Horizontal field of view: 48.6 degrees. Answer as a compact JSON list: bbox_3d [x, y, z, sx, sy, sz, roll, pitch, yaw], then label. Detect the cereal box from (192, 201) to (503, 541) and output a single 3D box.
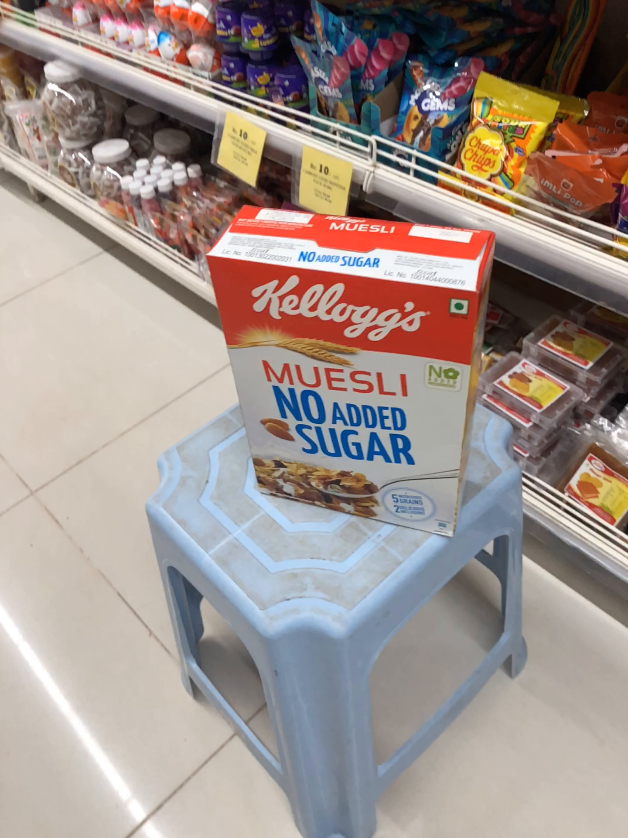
[{"bbox_3d":[0.032,-0.026,0.545,0.190,0.260,0.070,10,49,16],"label":"cereal box"}]
